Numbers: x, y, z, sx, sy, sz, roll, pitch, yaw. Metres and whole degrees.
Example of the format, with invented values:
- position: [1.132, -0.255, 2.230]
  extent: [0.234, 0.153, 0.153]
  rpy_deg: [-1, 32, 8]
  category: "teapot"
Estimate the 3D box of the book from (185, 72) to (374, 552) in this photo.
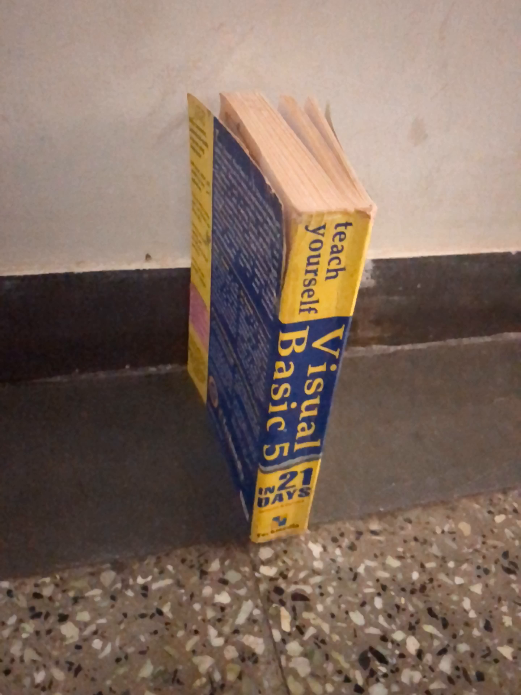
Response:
- position: [-0.007, -0.039, 0.404]
  extent: [0.060, 0.229, 0.251]
  rpy_deg: [-5, 37, -9]
  category: "book"
